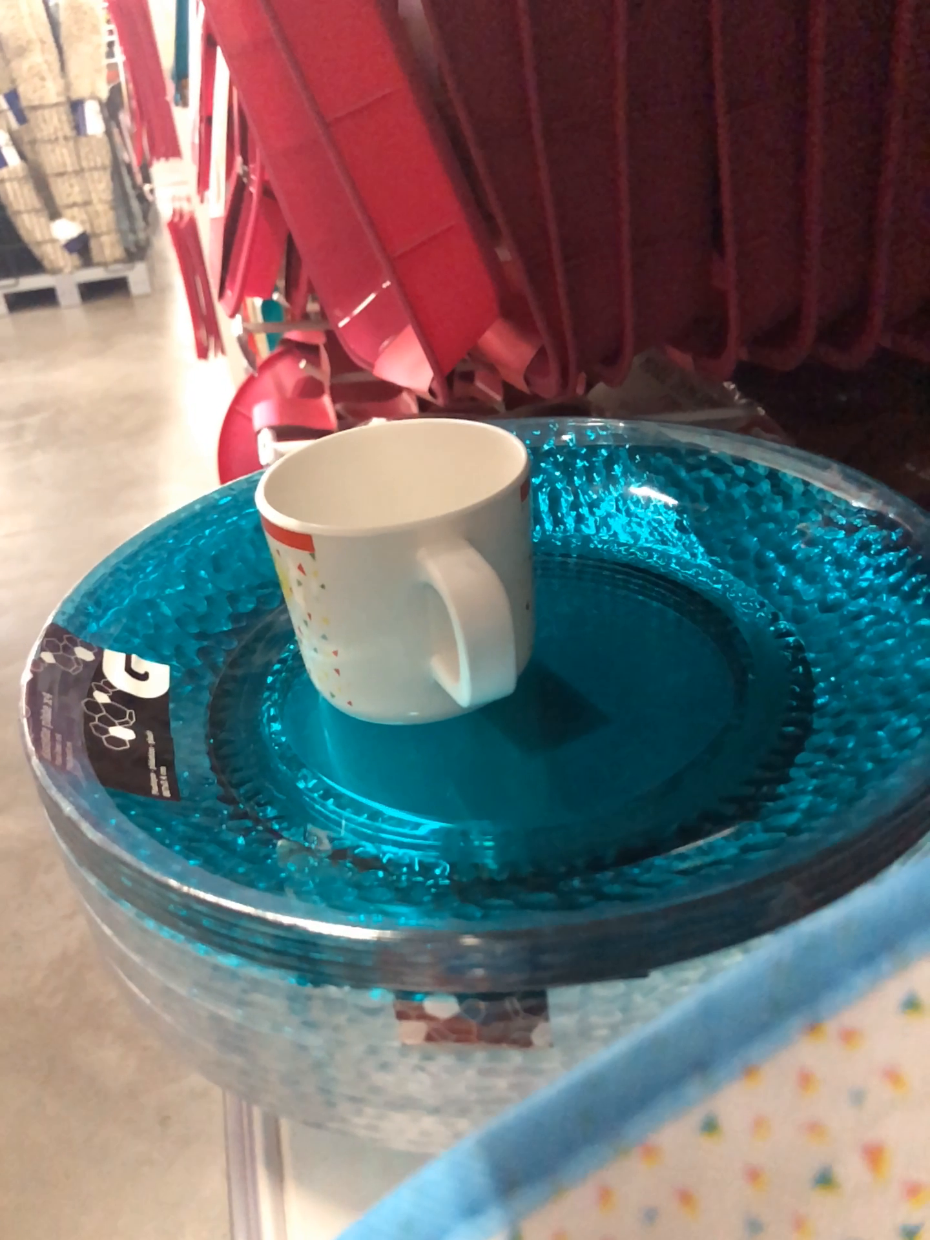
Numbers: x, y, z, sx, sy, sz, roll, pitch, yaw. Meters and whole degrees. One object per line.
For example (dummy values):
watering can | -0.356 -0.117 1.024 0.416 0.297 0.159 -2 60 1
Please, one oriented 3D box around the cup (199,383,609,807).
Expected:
cup | -0.020 -0.014 0.284 0.076 0.059 0.103 -18 33 -14
